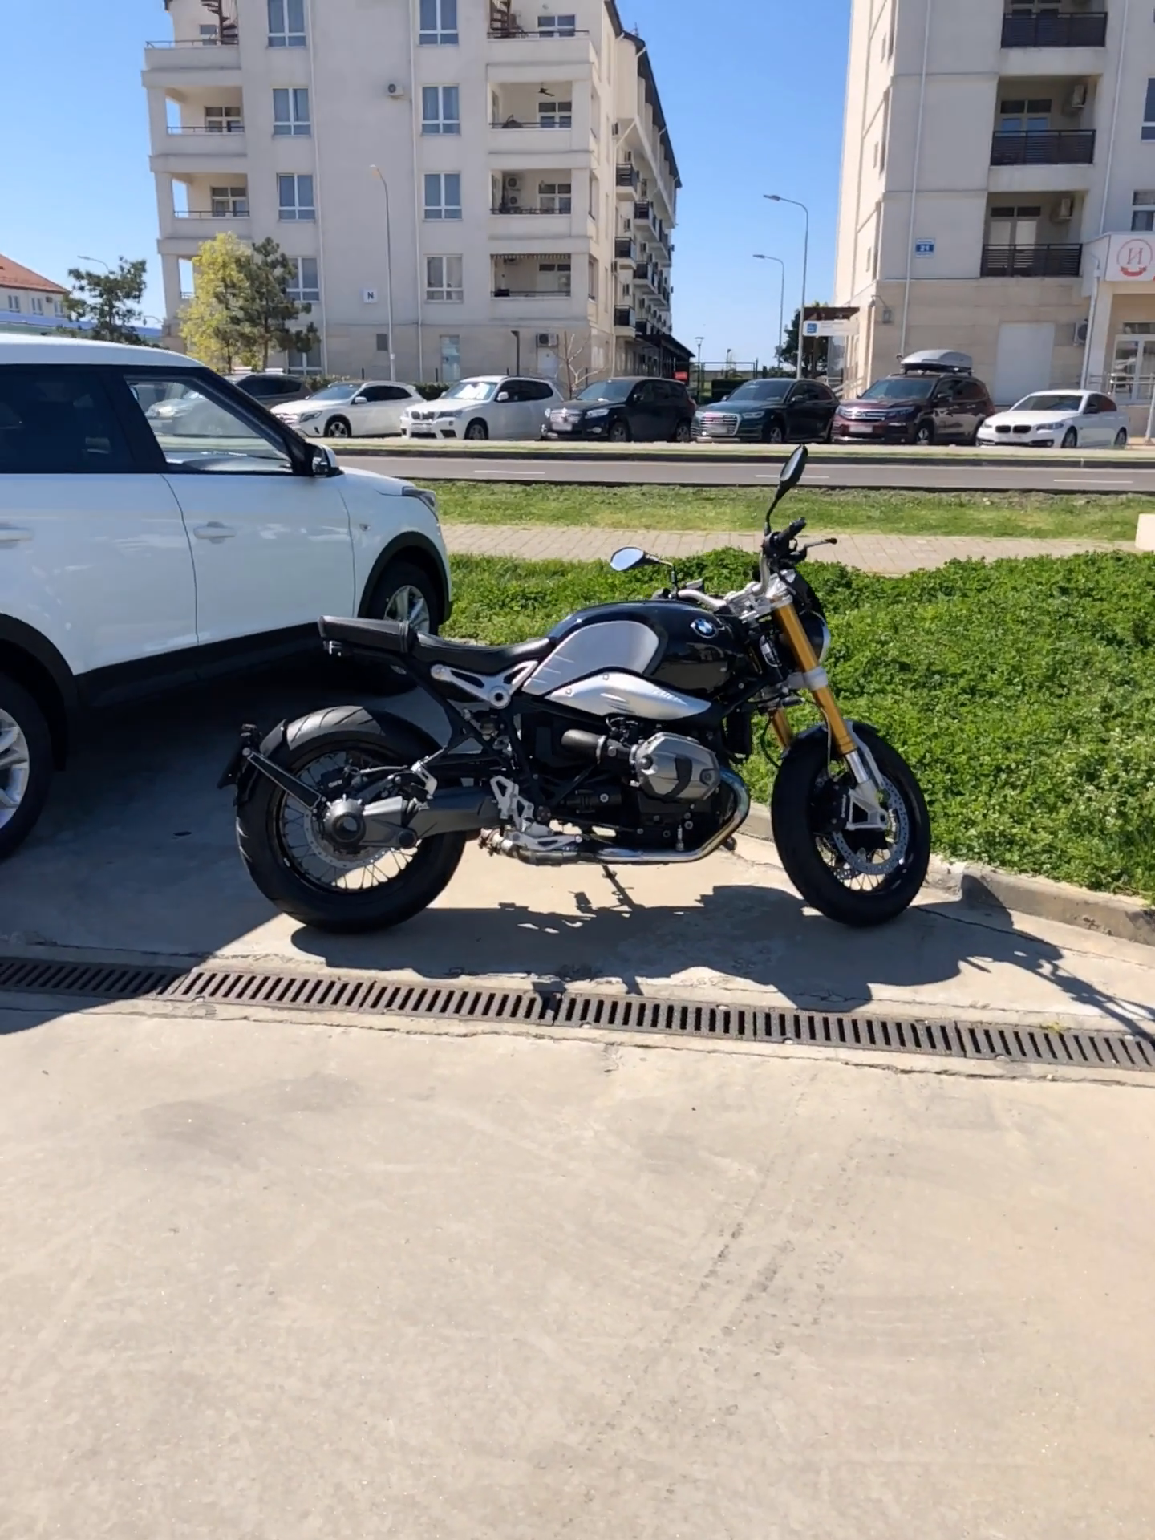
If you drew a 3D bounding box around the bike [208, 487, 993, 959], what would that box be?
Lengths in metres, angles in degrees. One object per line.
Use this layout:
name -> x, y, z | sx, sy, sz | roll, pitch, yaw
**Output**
bike -> 0.052, -0.200, 3.409 | 1.833, 1.013, 0.779 | -3, 16, -9
